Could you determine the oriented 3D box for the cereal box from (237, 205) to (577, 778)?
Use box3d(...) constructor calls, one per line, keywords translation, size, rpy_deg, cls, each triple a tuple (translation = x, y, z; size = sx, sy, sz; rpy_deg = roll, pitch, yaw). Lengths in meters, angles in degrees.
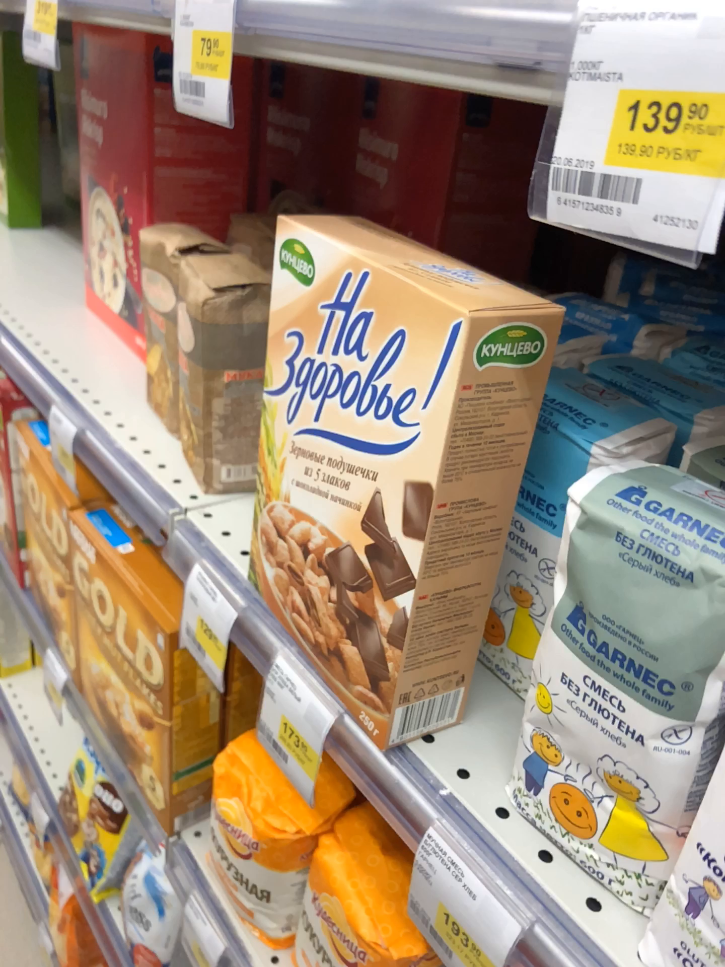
box3d(translation=(0.002, -0.003, 0.387), size=(0.050, 0.219, 0.161), rpy_deg=(-10, 32, -31), cls="cereal box")
